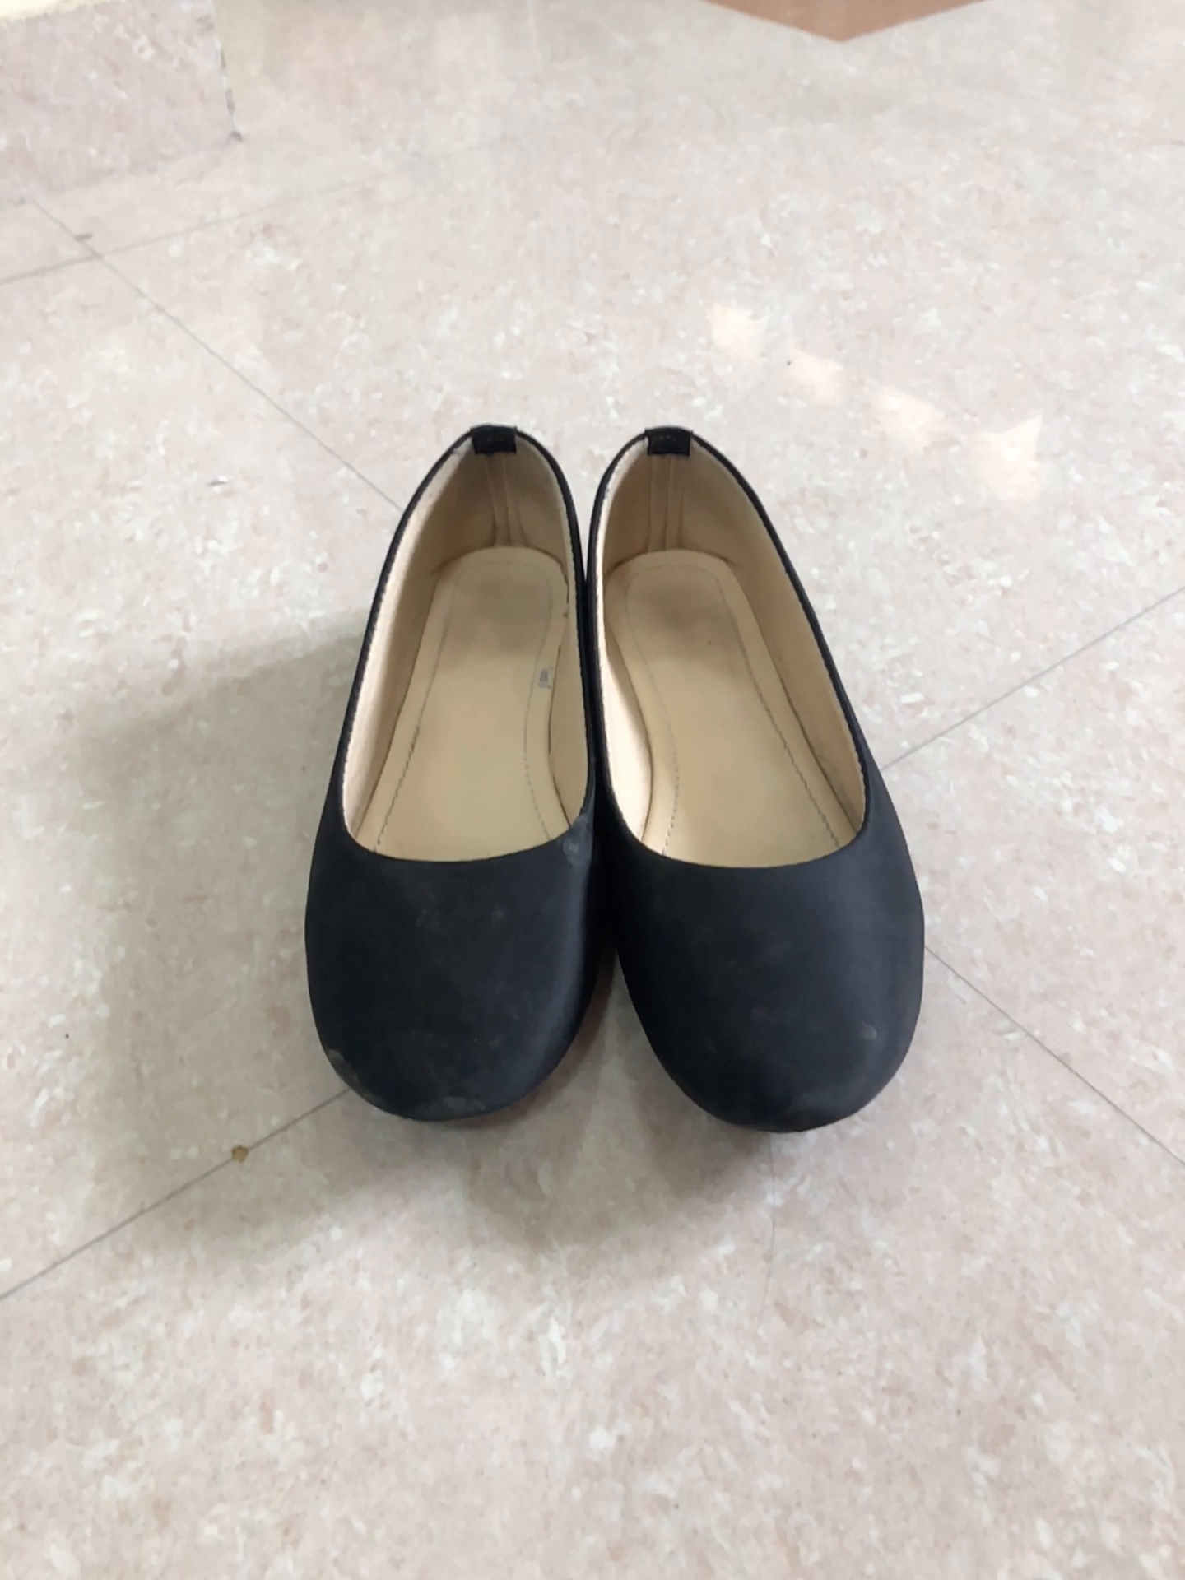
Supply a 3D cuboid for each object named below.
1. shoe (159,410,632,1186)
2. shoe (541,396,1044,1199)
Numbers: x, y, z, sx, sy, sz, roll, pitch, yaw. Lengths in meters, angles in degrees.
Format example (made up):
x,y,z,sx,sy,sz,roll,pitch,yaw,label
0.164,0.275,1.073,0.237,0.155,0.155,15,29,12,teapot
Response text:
x,y,z,sx,sy,sz,roll,pitch,yaw,label
-0.037,-0.015,0.381,0.092,0.075,0.240,0,45,3,shoe
0.038,-0.016,0.375,0.092,0.075,0.240,-4,44,-1,shoe
